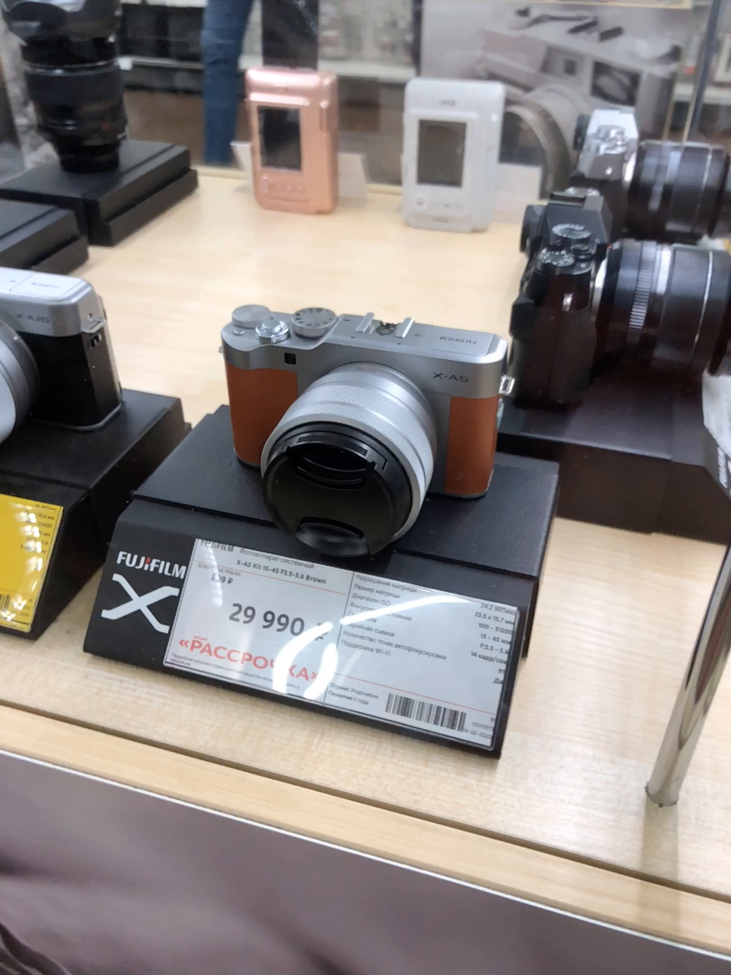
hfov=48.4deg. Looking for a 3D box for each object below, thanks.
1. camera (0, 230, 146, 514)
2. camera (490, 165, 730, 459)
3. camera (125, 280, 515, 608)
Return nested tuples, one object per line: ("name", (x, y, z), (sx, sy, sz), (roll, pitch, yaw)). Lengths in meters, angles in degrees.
("camera", (-0.179, -0.056, 0.357), (0.121, 0.075, 0.093), (10, 37, 13))
("camera", (0.134, -0.096, 0.415), (0.112, 0.090, 0.131), (10, 37, 13))
("camera", (-0.011, -0.023, 0.322), (0.121, 0.075, 0.093), (10, 37, 13))
